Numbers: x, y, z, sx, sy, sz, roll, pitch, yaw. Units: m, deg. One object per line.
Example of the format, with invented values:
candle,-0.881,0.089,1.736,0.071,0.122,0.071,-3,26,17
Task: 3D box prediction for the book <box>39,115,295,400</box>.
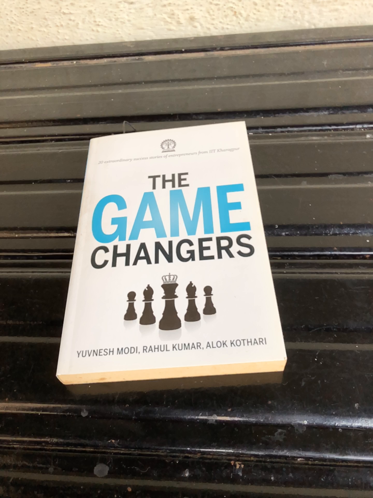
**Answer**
book,-0.014,-0.009,0.299,0.140,0.030,0.211,-5,55,4
